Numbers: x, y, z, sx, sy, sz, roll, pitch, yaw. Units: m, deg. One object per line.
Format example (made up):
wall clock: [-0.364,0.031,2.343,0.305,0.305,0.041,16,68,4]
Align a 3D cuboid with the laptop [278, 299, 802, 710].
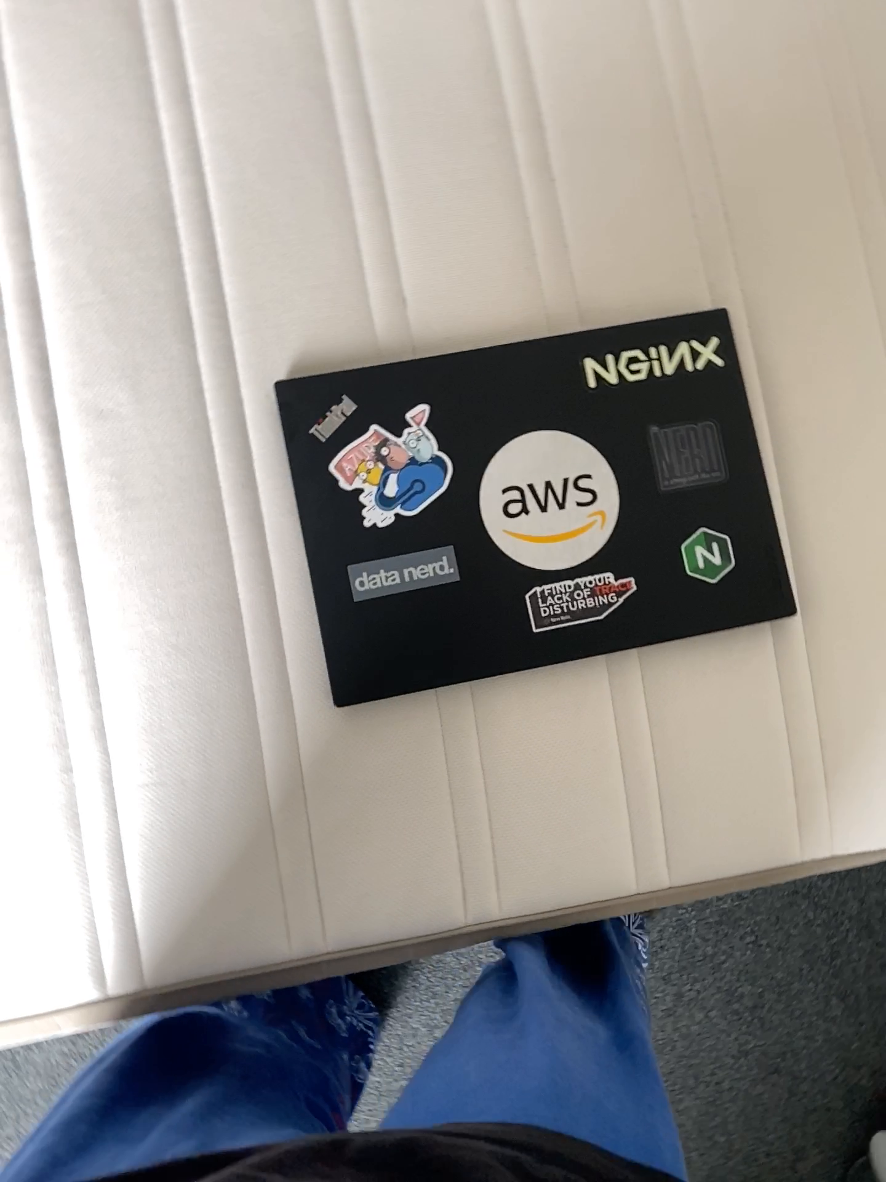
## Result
laptop: [0.064,-0.064,0.616,0.322,0.014,0.224,-11,82,-5]
